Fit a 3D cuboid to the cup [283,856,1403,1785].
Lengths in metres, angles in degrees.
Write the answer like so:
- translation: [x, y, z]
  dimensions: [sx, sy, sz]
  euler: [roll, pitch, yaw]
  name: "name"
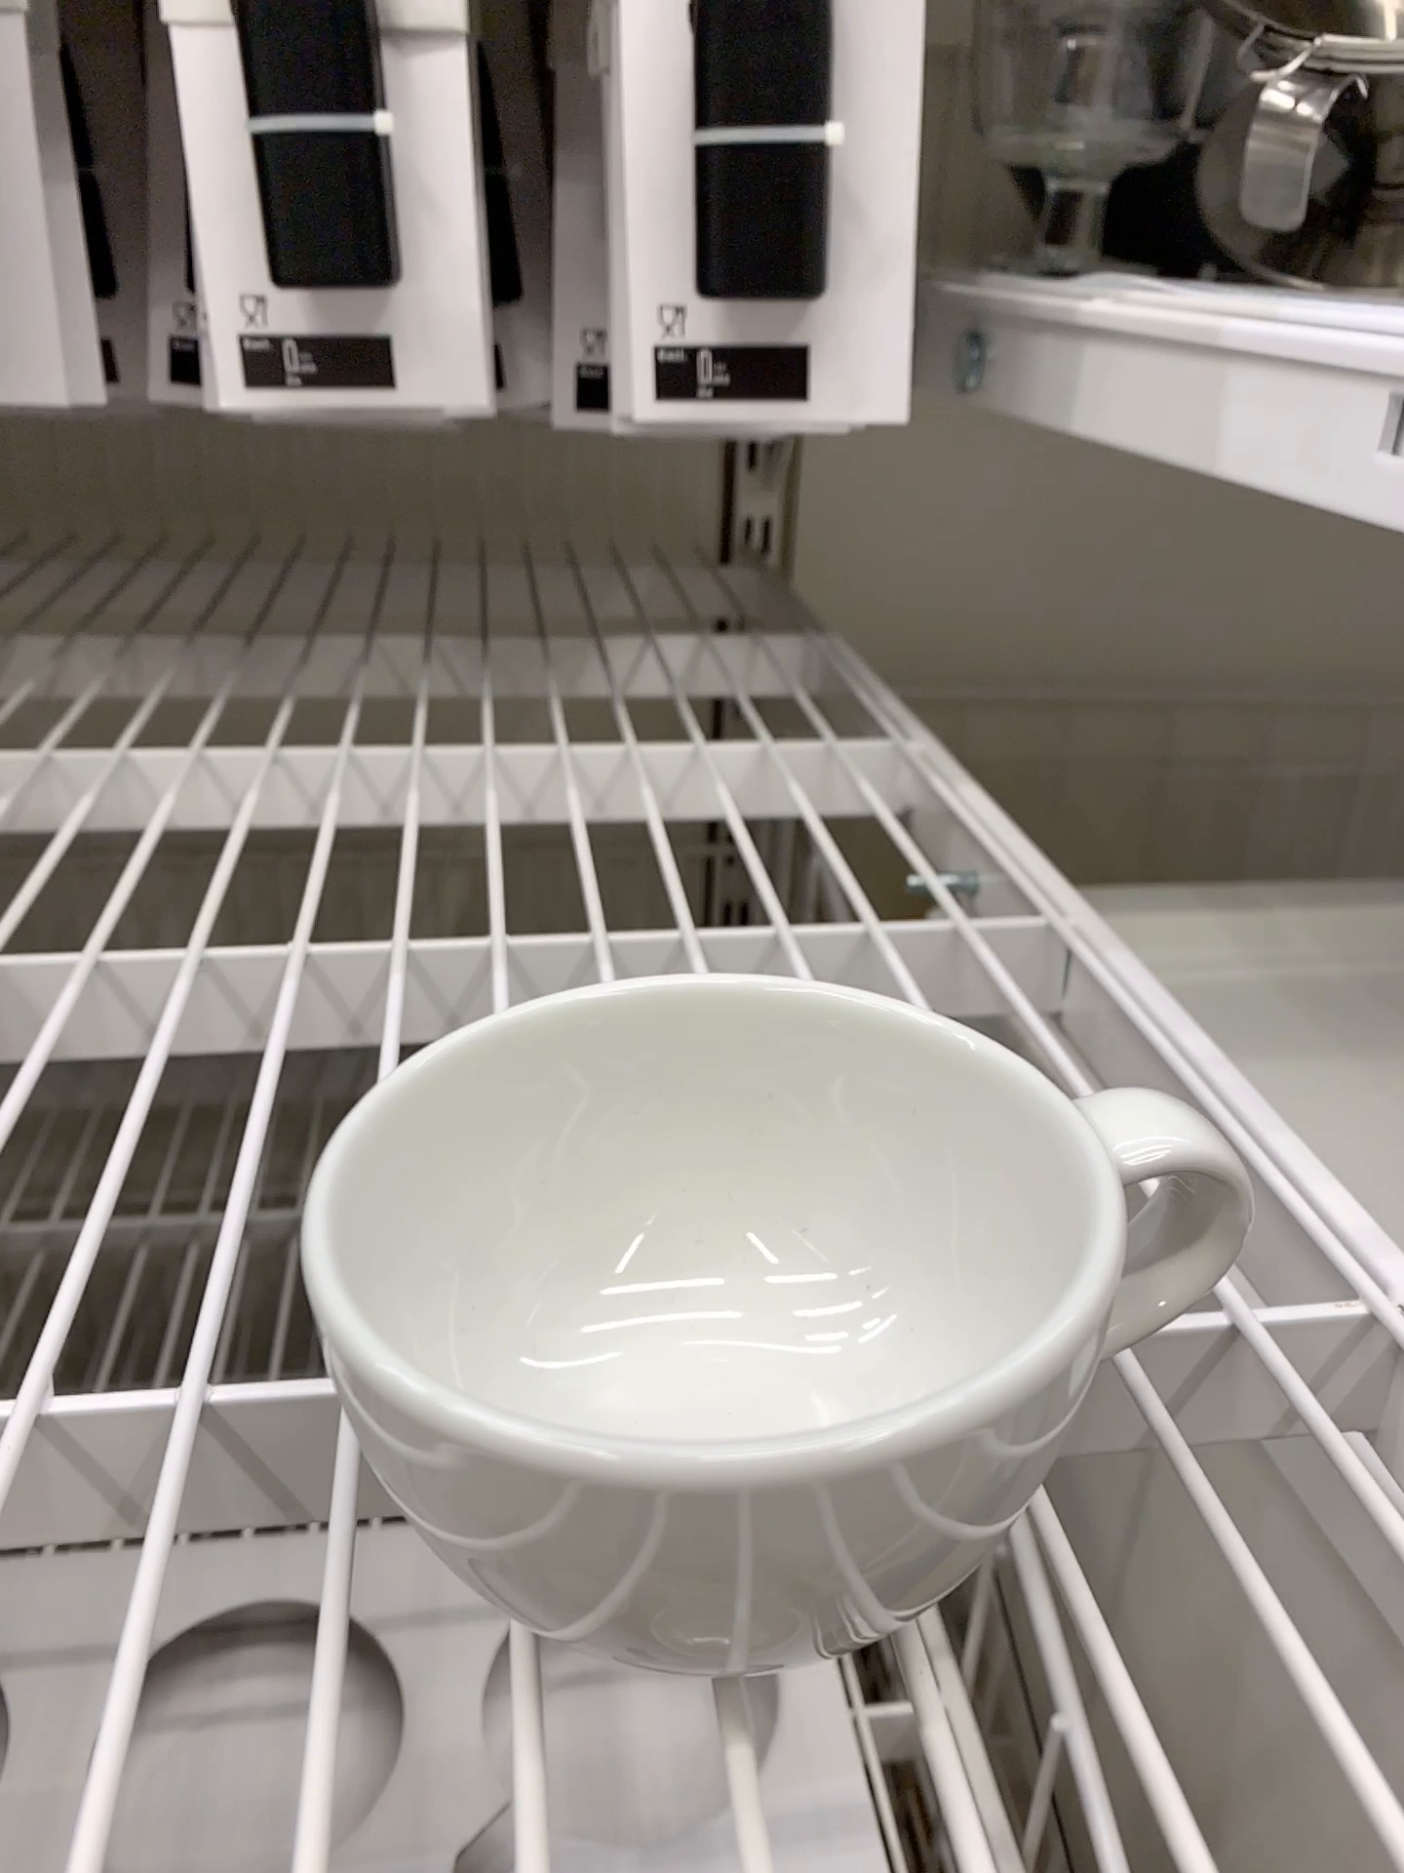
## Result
- translation: [0.014, 0.029, 0.169]
  dimensions: [0.116, 0.036, 0.097]
  euler: [-4, 26, -14]
  name: "cup"
